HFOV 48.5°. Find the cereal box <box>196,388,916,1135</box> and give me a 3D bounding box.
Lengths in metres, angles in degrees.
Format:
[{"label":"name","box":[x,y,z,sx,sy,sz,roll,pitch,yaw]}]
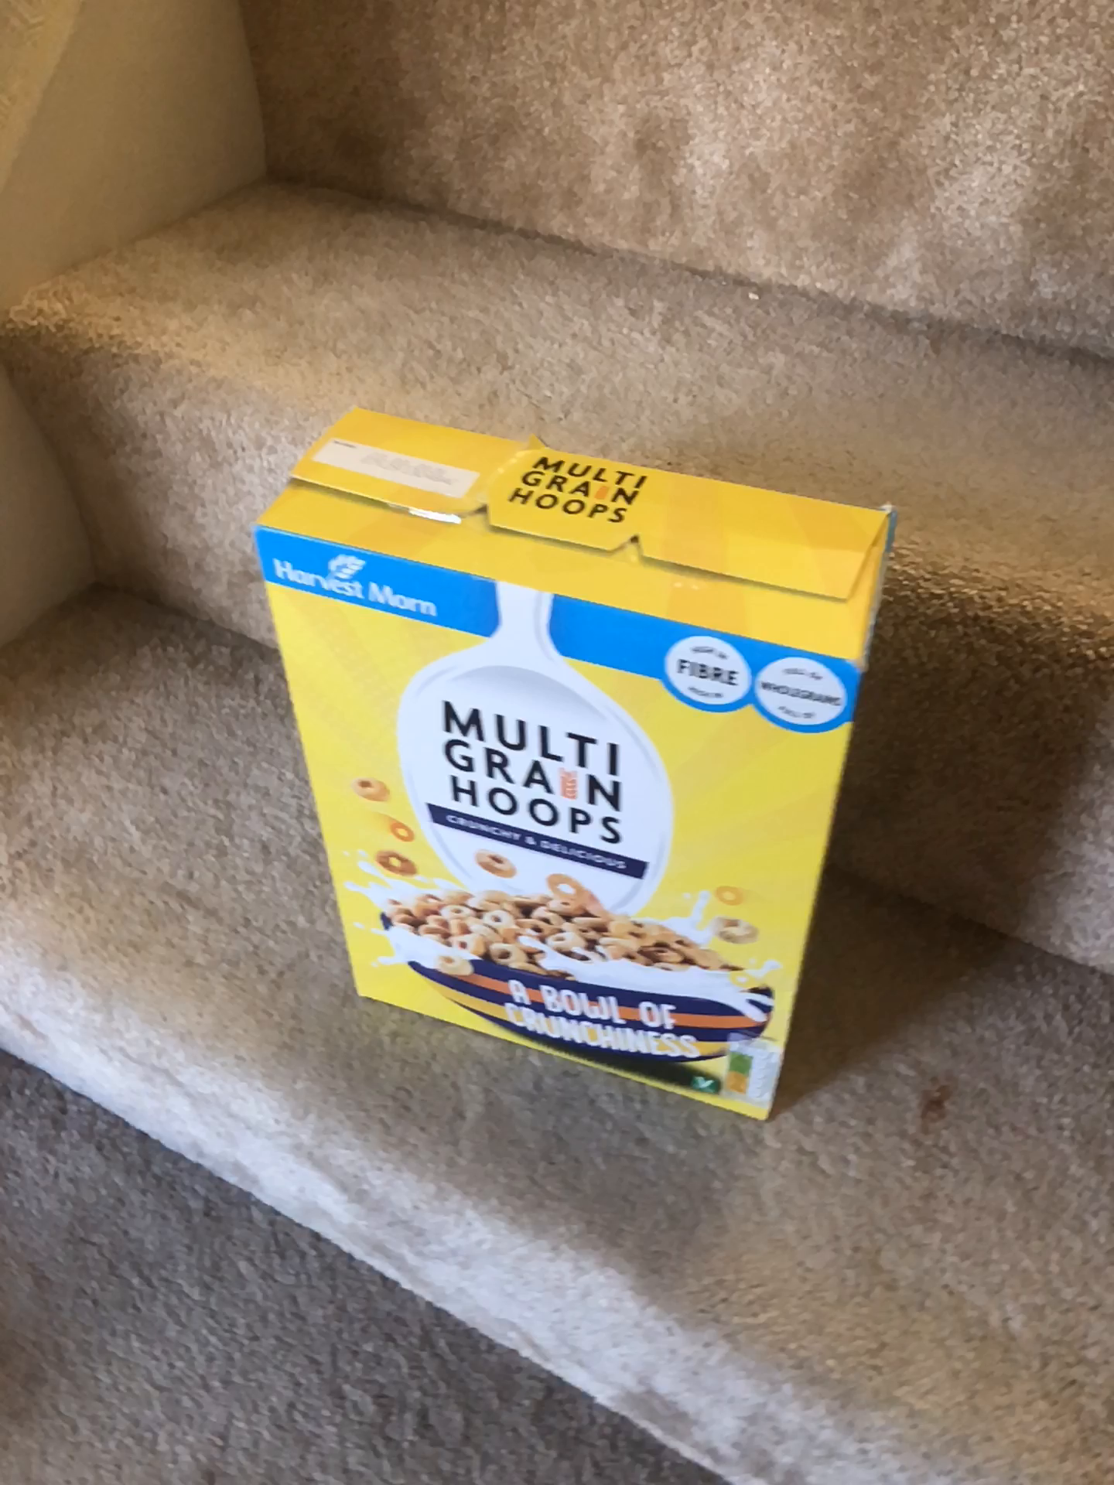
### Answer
[{"label":"cereal box","box":[0.003,0.018,0.464,0.200,0.248,0.091,14,48,14]}]
